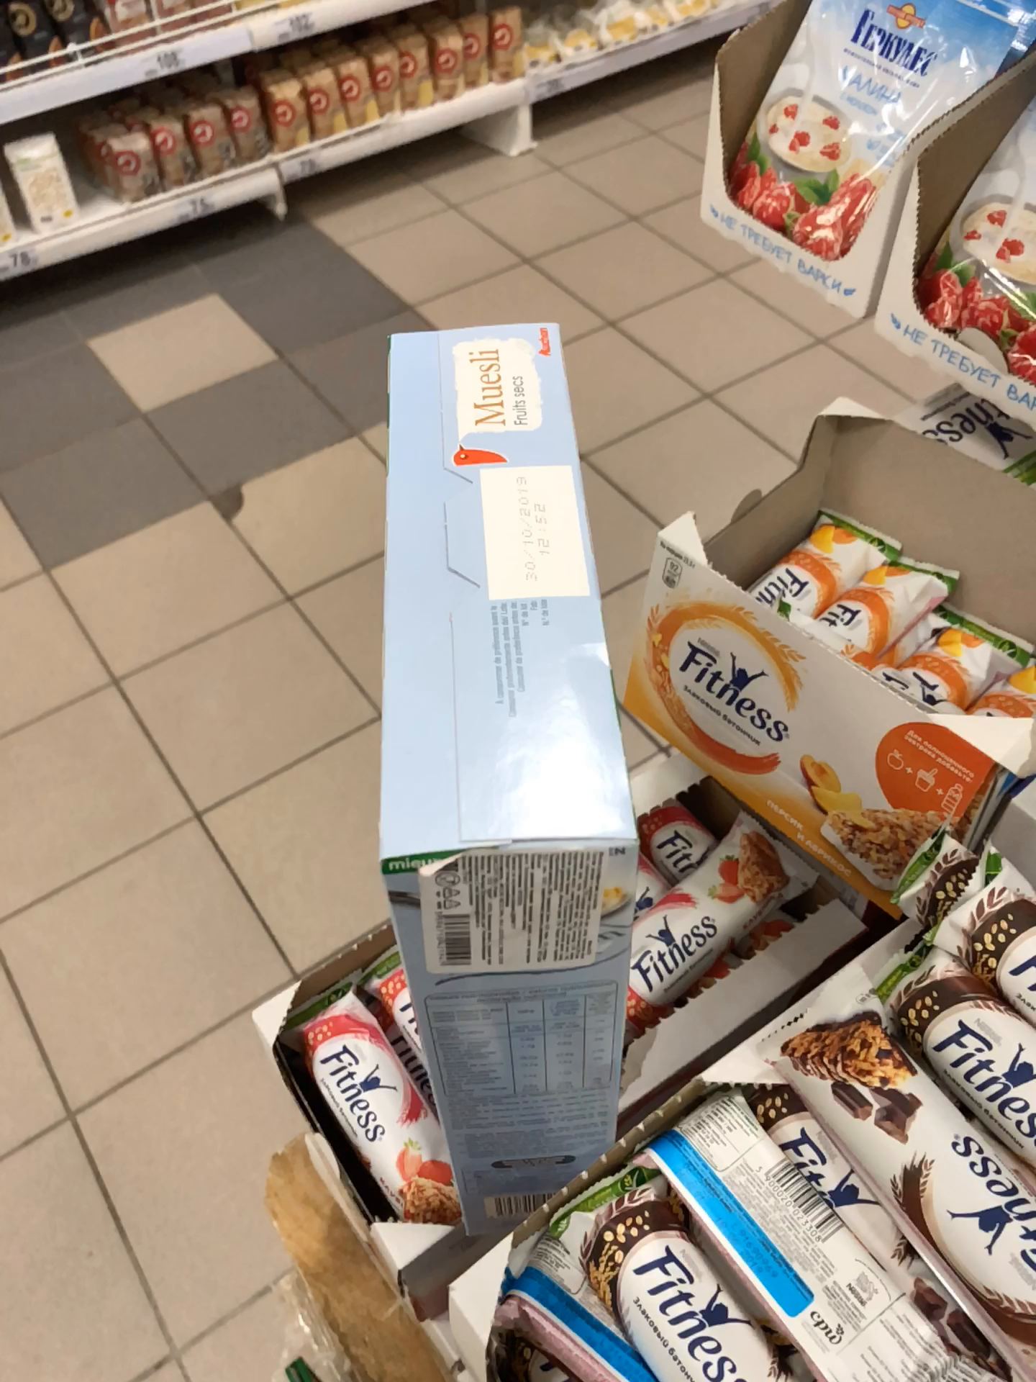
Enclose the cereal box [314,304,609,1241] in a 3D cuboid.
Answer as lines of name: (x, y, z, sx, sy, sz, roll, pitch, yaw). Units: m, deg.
cereal box: (-0.011, 0.048, 0.408, 0.060, 0.288, 0.201, -2, 50, 0)
